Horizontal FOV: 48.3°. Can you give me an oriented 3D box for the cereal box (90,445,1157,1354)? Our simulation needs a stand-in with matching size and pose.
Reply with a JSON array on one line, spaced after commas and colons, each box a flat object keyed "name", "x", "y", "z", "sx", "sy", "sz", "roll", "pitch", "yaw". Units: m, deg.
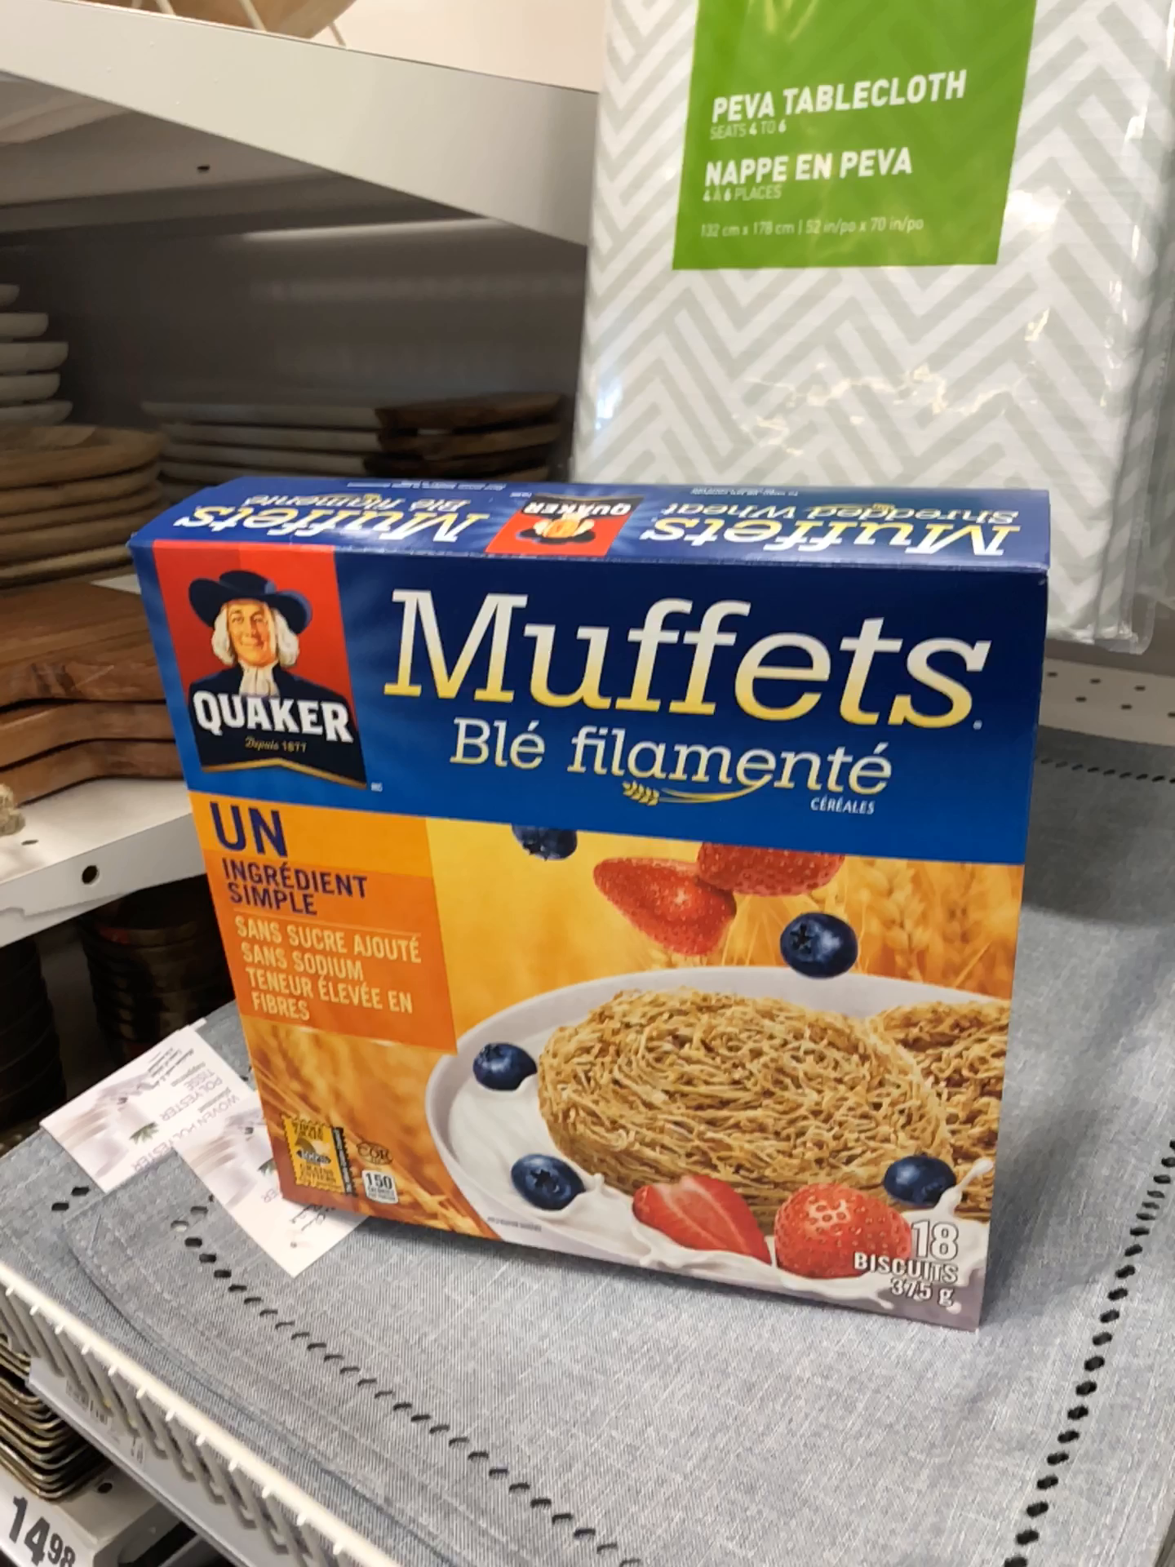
[{"name": "cereal box", "x": 0.009, "y": 0.028, "z": 0.369, "sx": 0.250, "sy": 0.229, "sz": 0.060, "roll": 5, "pitch": 28, "yaw": 18}]
